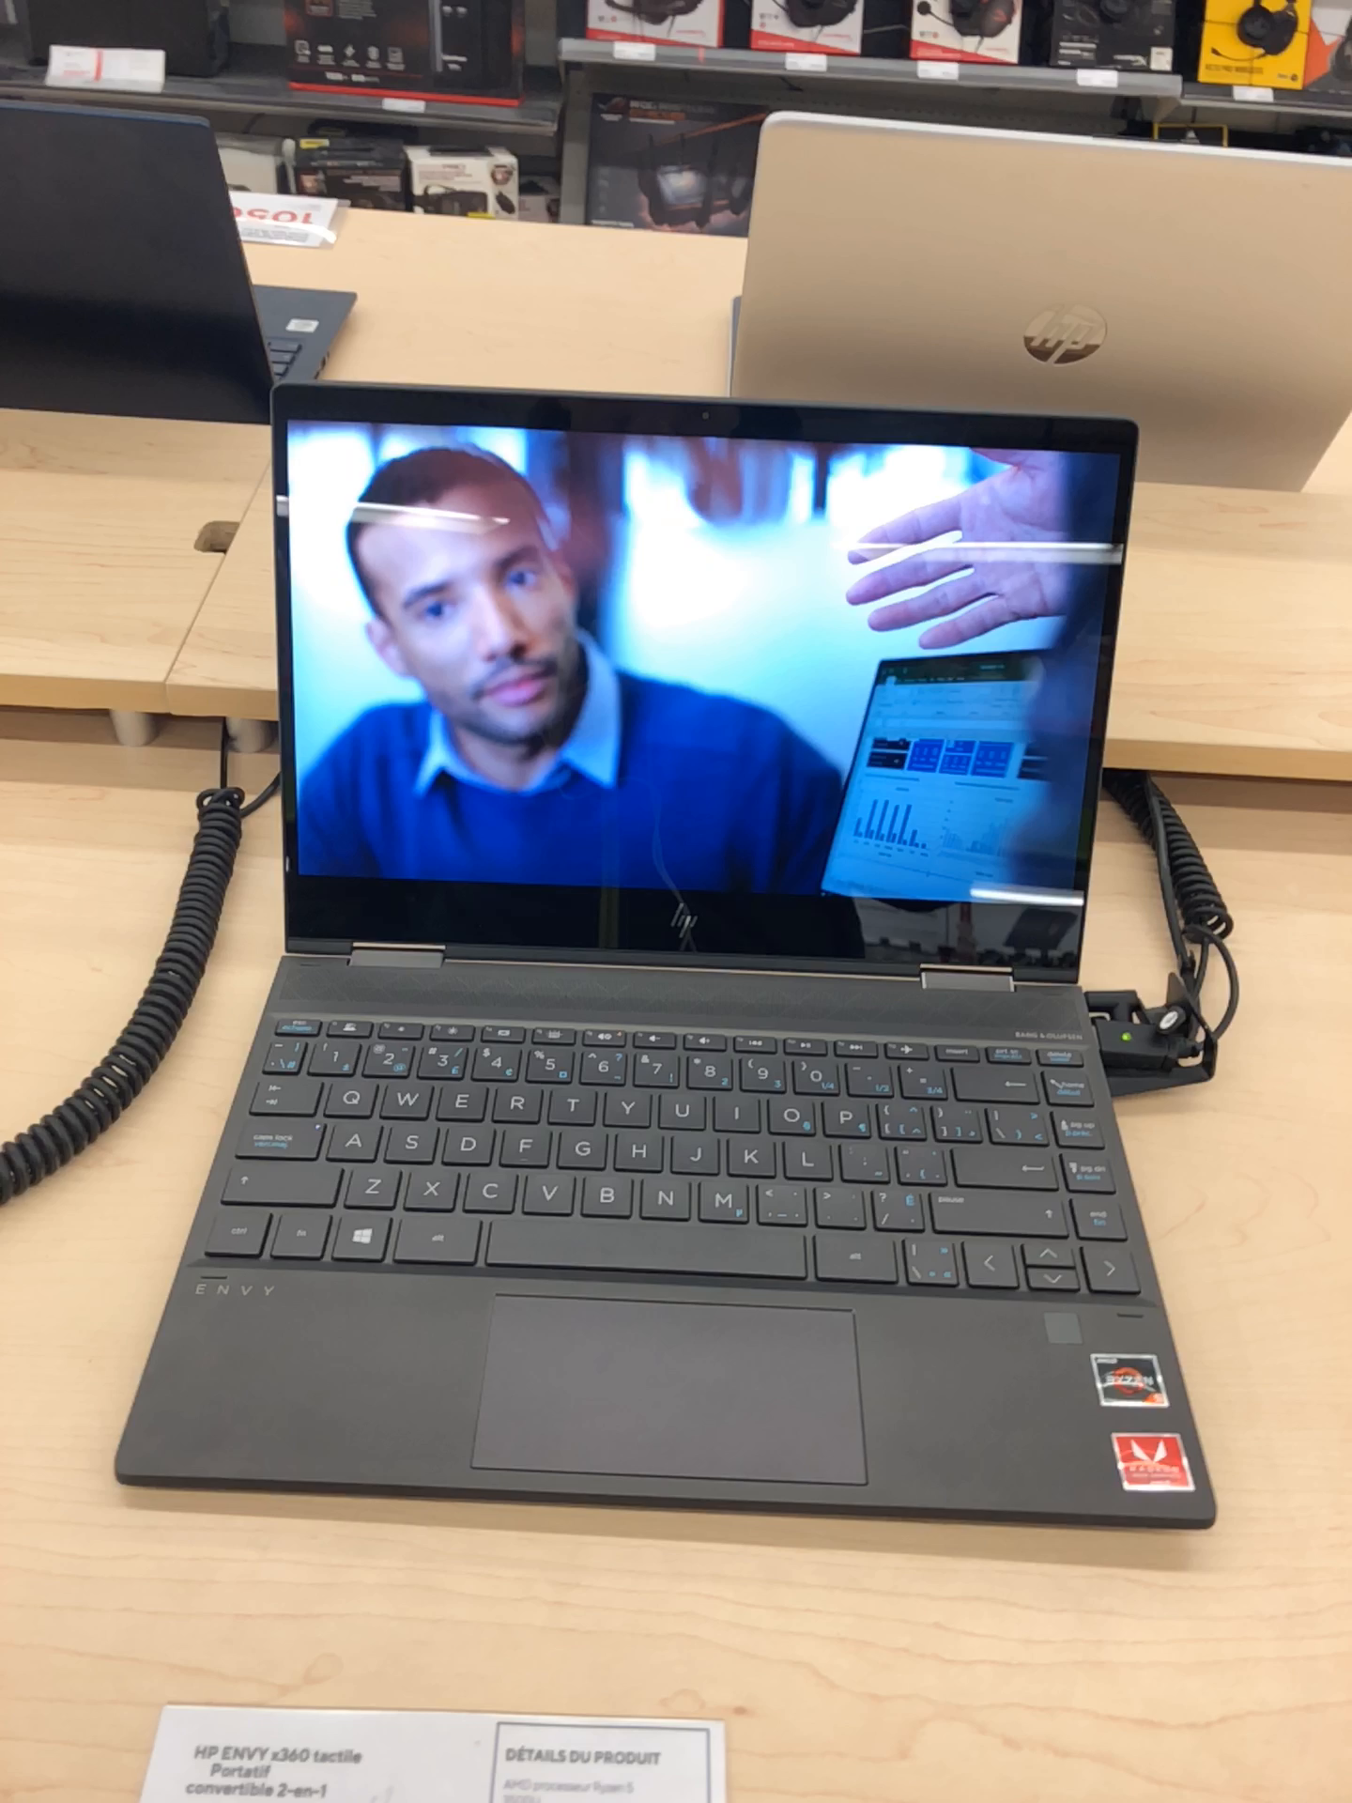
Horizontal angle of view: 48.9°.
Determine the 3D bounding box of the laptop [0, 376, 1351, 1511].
[{"bbox_3d":[0.006,-0.004,0.456,0.294,0.182,0.289,3,42,-2],"label":"laptop"}]
